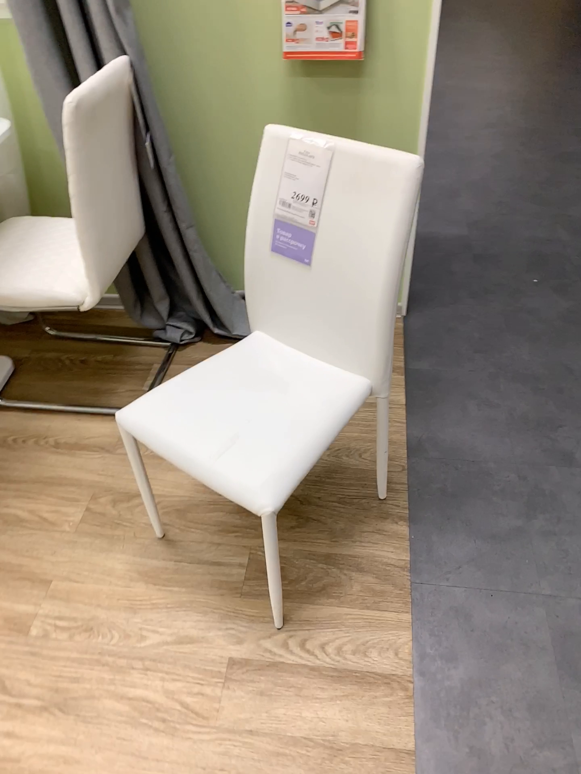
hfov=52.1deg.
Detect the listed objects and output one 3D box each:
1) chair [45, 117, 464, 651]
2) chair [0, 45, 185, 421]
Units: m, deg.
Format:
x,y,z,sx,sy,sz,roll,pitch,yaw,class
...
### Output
x,y,z,sx,sy,sz,roll,pitch,yaw,class
-0.026,0.010,1.297,0.451,0.925,0.552,26,49,29,chair
-0.712,-0.415,1.740,0.560,0.945,0.453,4,42,7,chair
